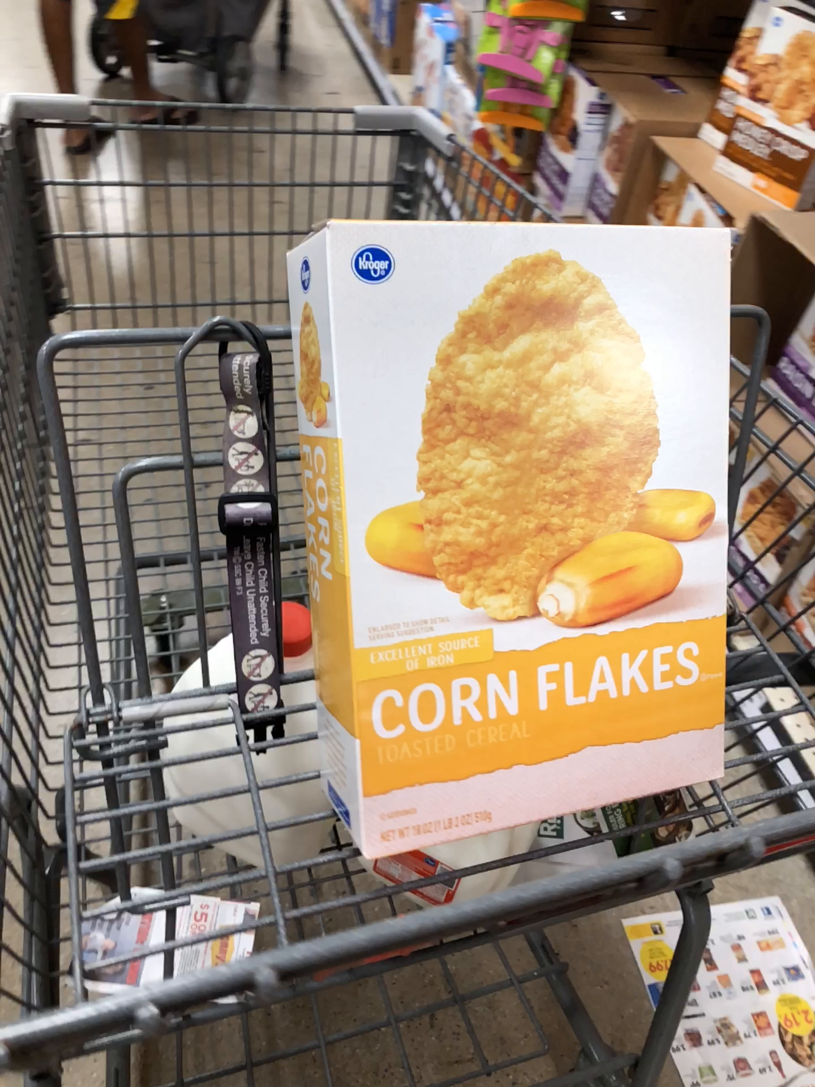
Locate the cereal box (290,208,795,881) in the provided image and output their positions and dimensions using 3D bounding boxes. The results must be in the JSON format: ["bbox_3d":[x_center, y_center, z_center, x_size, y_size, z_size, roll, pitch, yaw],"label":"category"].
[{"bbox_3d":[0.072,-0.009,0.464,0.230,0.300,0.080,-7,12,-18],"label":"cereal box"}]
